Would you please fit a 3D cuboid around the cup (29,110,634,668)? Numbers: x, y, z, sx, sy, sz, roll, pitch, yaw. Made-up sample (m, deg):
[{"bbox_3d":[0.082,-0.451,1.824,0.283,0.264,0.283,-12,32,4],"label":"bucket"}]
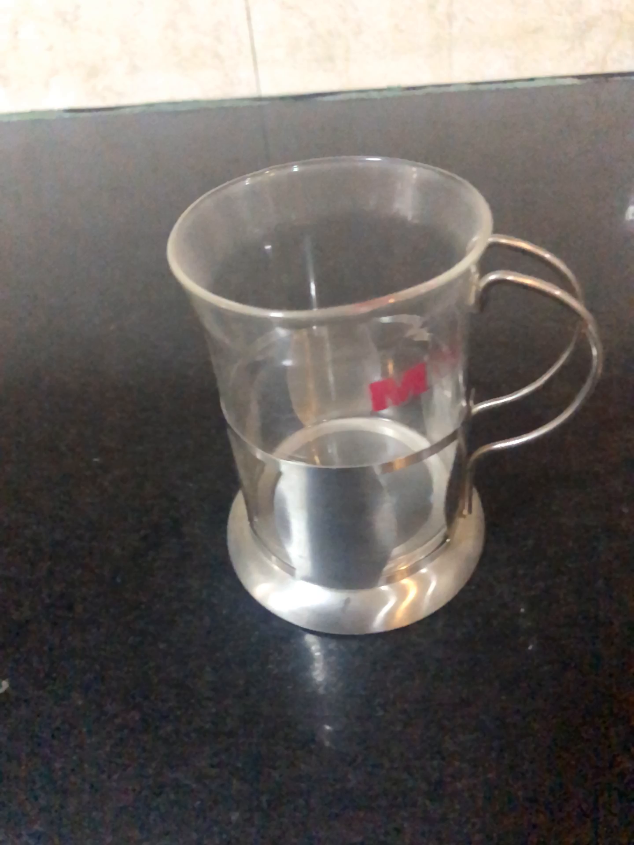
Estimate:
[{"bbox_3d":[0.014,-0.004,0.179,0.110,0.109,0.081,-1,43,6],"label":"cup"}]
